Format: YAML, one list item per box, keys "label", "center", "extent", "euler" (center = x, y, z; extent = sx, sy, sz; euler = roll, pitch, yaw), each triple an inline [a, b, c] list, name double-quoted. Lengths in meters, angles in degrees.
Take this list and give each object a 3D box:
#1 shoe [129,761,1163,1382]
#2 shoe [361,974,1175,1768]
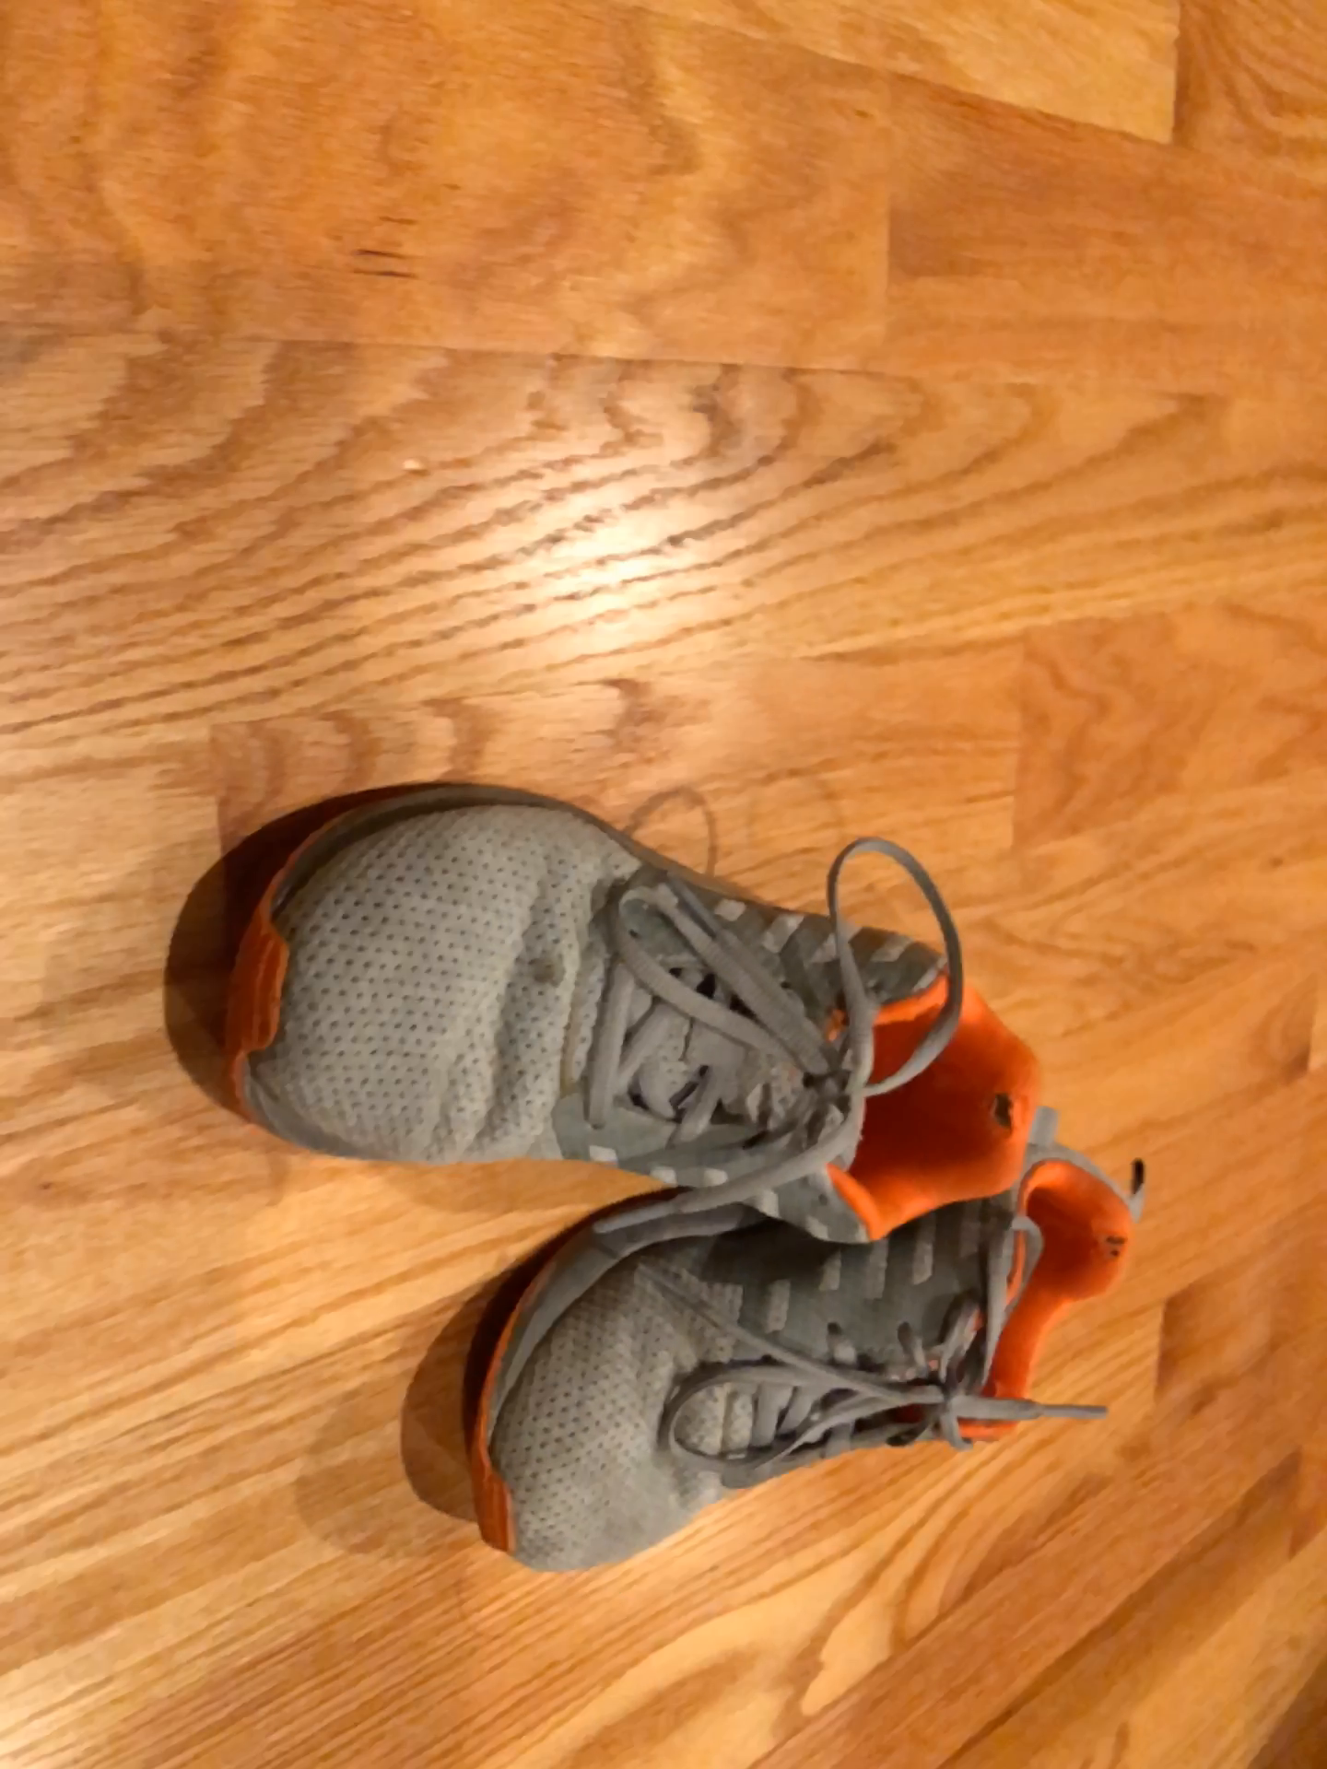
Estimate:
- label: "shoe"
  center: [0.012, 0.043, 0.383]
  extent: [0.251, 0.100, 0.100]
  euler: [8, 96, -43]
- label: "shoe"
  center: [0.048, 0.128, 0.440]
  extent: [0.251, 0.080, 0.110]
  euler: [-21, 115, -37]
